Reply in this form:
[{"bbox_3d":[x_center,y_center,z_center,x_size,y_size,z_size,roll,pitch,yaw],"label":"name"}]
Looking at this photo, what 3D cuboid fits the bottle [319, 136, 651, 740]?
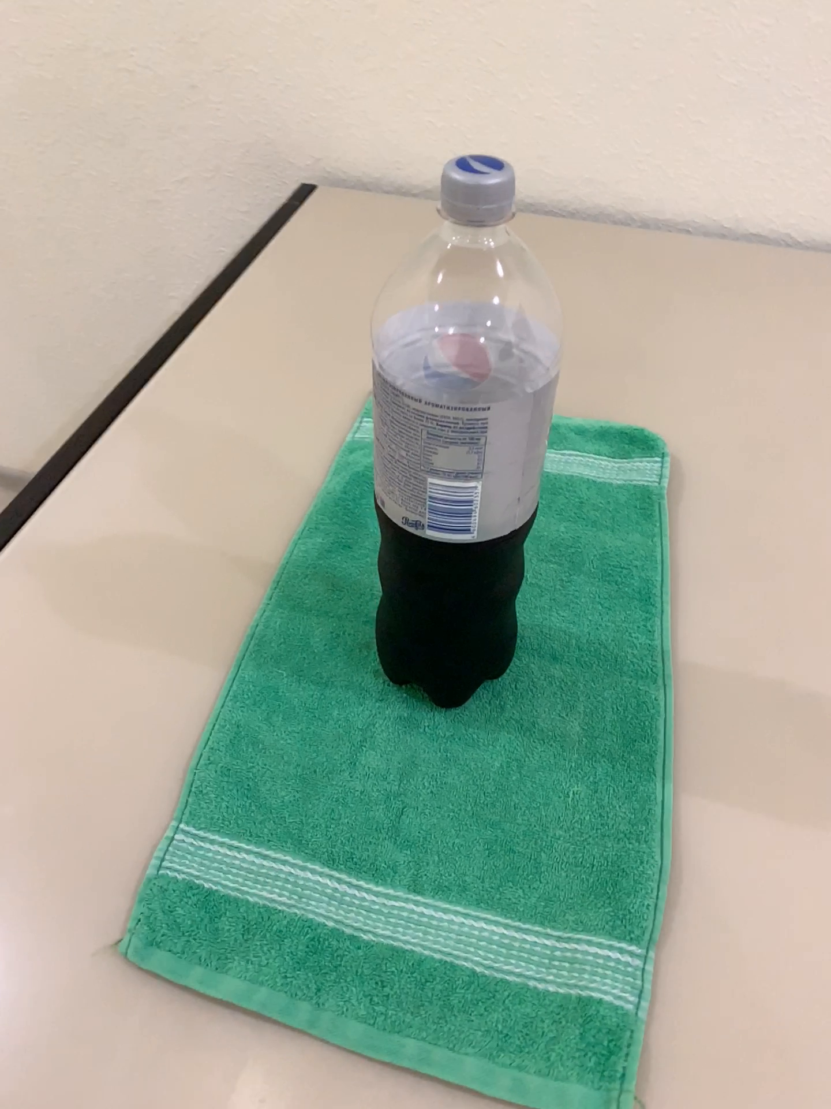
[{"bbox_3d":[0.023,-0.039,0.448,0.100,0.298,0.101,0,46,0],"label":"bottle"}]
